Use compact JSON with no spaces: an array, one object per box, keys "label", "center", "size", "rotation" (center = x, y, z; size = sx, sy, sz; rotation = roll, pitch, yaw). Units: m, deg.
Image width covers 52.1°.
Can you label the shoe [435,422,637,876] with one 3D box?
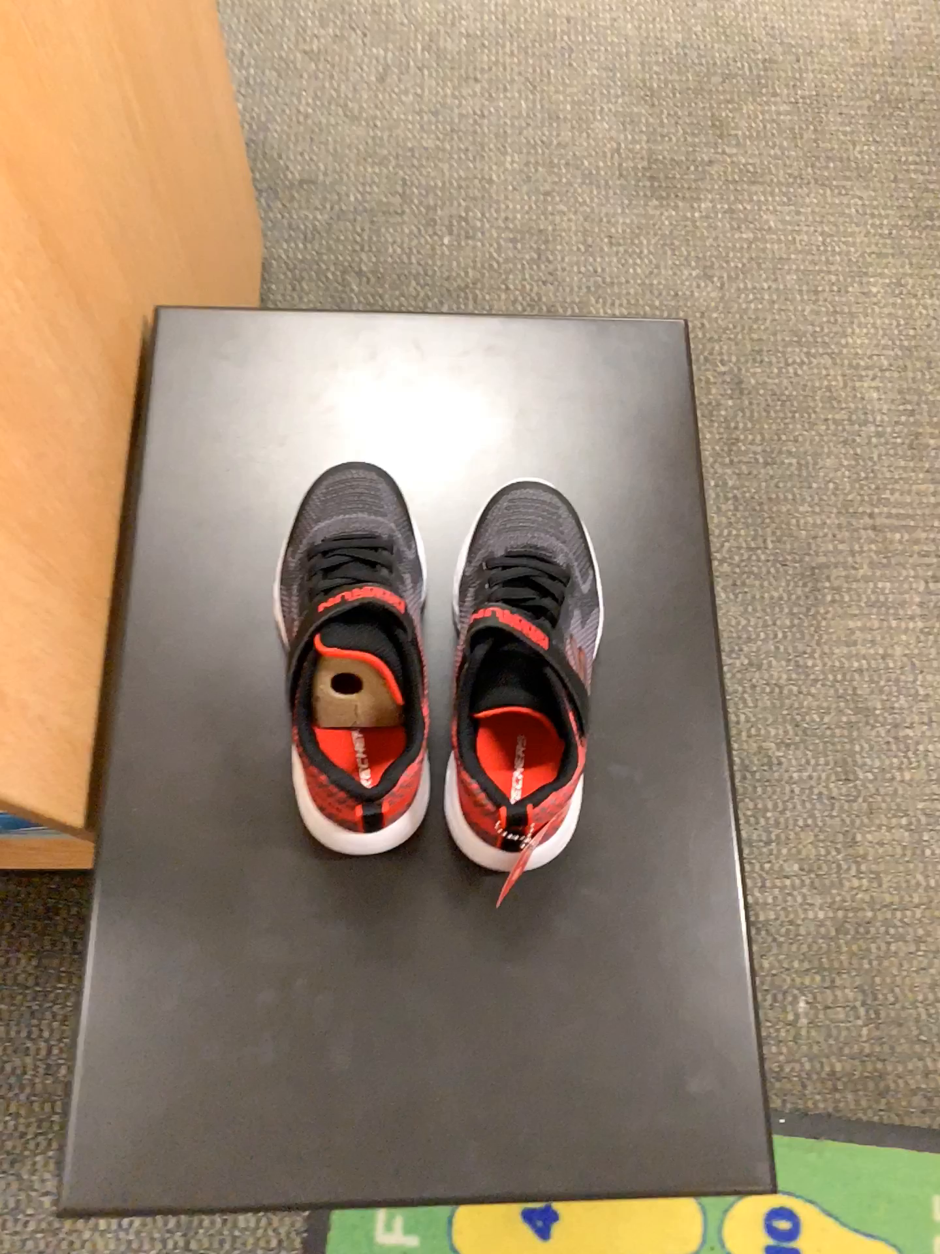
[{"label":"shoe","center":[0.037,0.013,0.549],"size":[0.098,0.080,0.240],"rotation":[4,71,-2]}]

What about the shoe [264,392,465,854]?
[{"label":"shoe","center":[-0.061,-0.003,0.539],"size":[0.090,0.080,0.240],"rotation":[-4,71,-5]}]
